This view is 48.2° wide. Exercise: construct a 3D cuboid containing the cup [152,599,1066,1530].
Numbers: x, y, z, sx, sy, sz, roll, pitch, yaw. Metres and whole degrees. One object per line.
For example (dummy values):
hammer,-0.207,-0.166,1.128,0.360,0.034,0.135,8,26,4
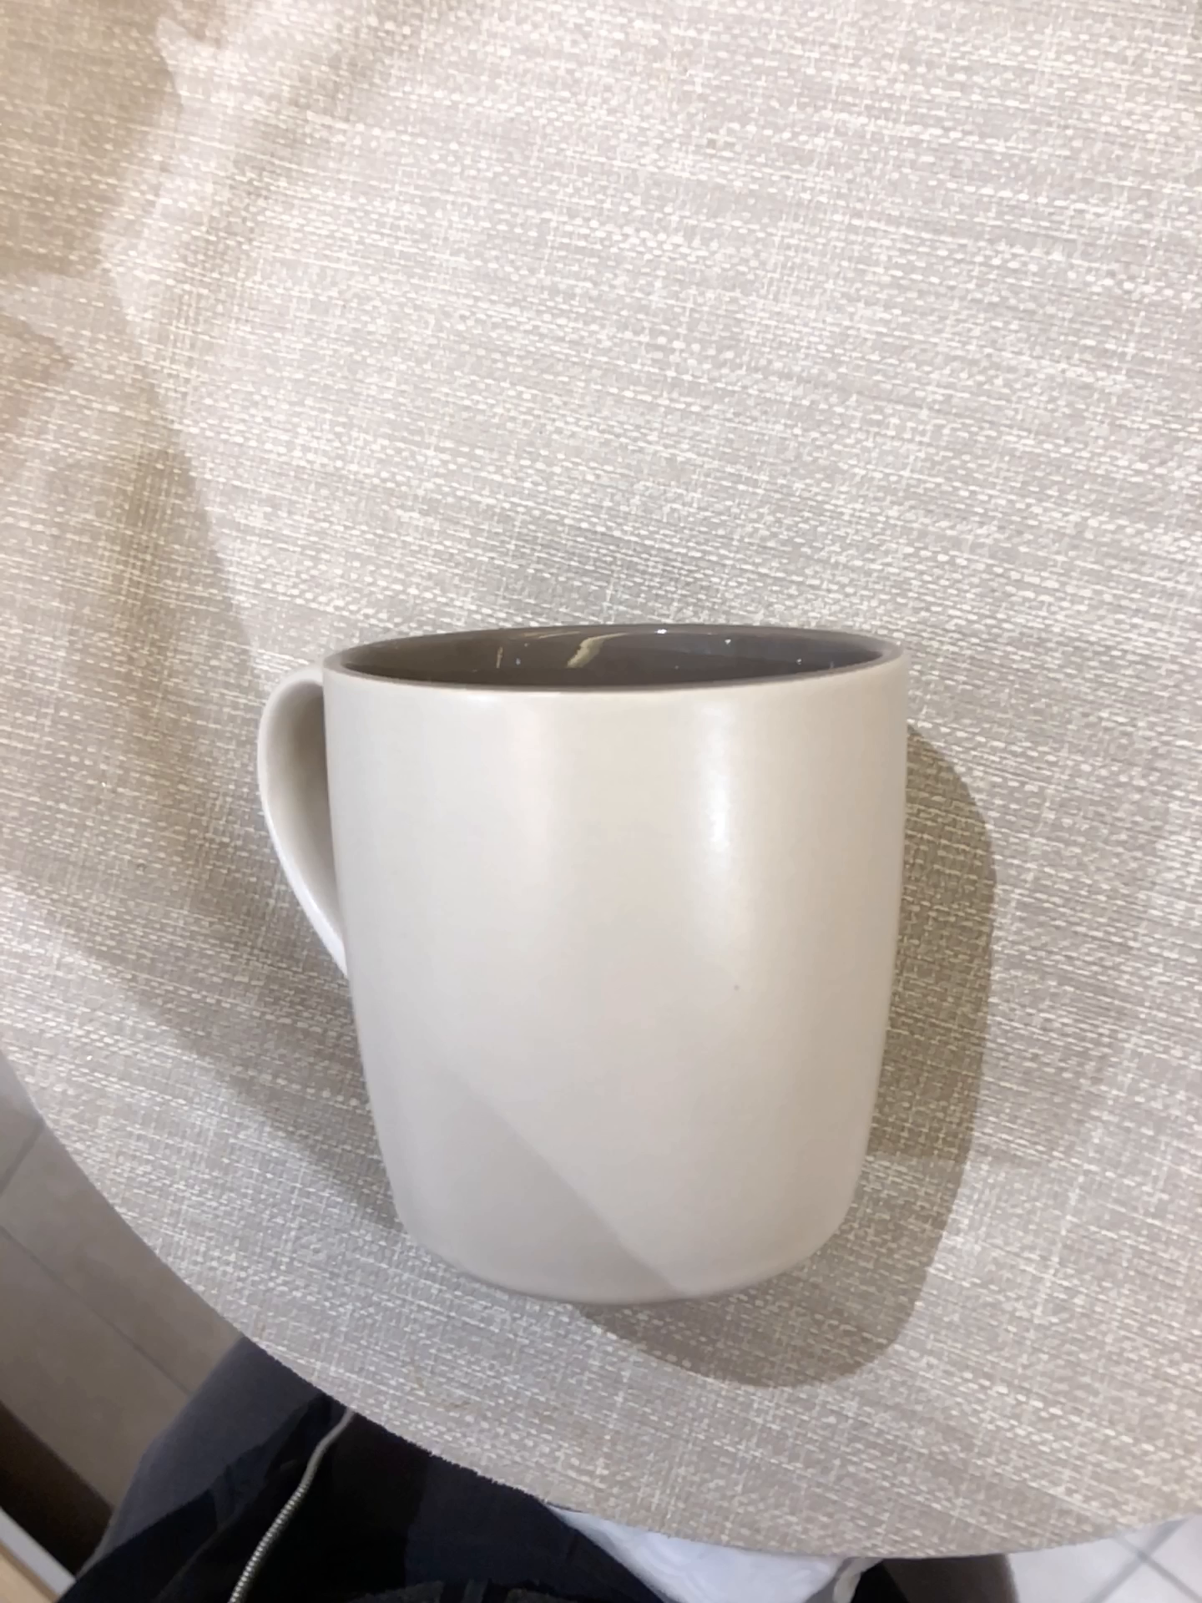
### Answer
cup,-0.002,0.019,0.194,0.100,0.080,0.090,11,107,49
